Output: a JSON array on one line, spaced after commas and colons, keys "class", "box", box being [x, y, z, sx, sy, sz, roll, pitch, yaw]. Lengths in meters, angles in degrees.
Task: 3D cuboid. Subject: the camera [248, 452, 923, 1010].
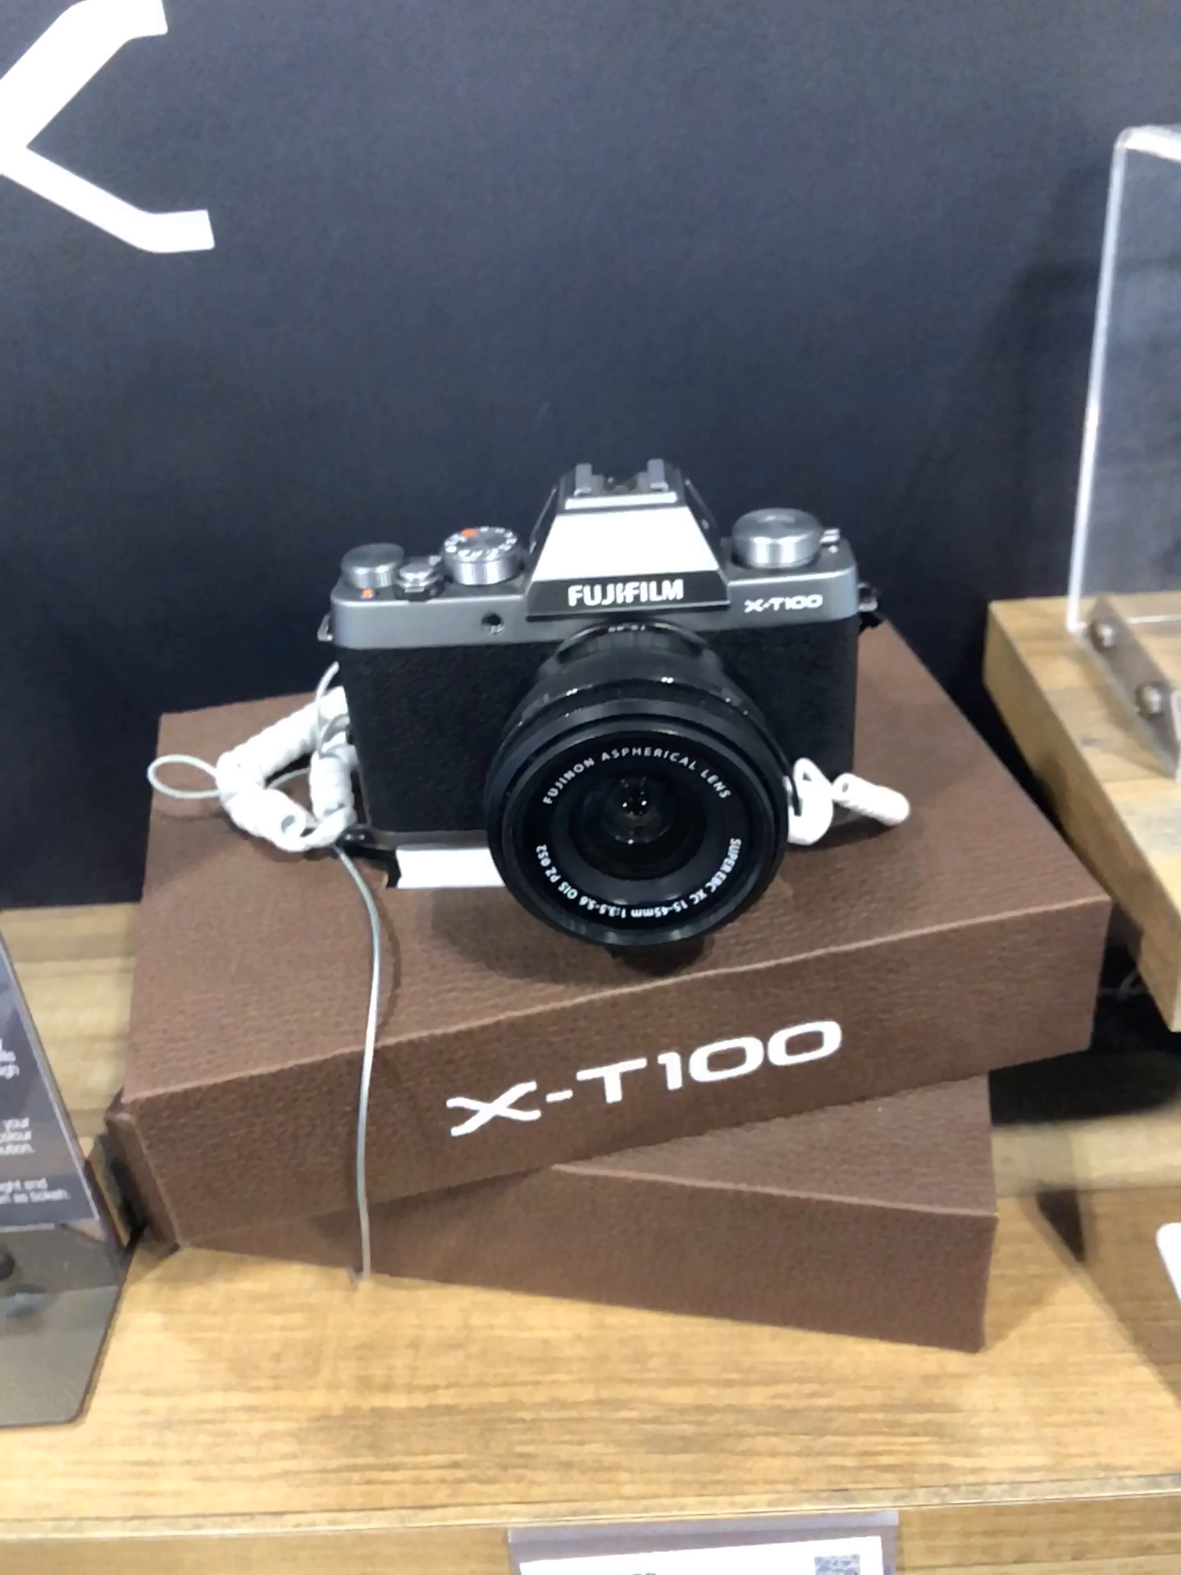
[{"class": "camera", "box": [0.003, -0.017, 0.317, 0.130, 0.089, 0.101, -4, 30, 3]}]
